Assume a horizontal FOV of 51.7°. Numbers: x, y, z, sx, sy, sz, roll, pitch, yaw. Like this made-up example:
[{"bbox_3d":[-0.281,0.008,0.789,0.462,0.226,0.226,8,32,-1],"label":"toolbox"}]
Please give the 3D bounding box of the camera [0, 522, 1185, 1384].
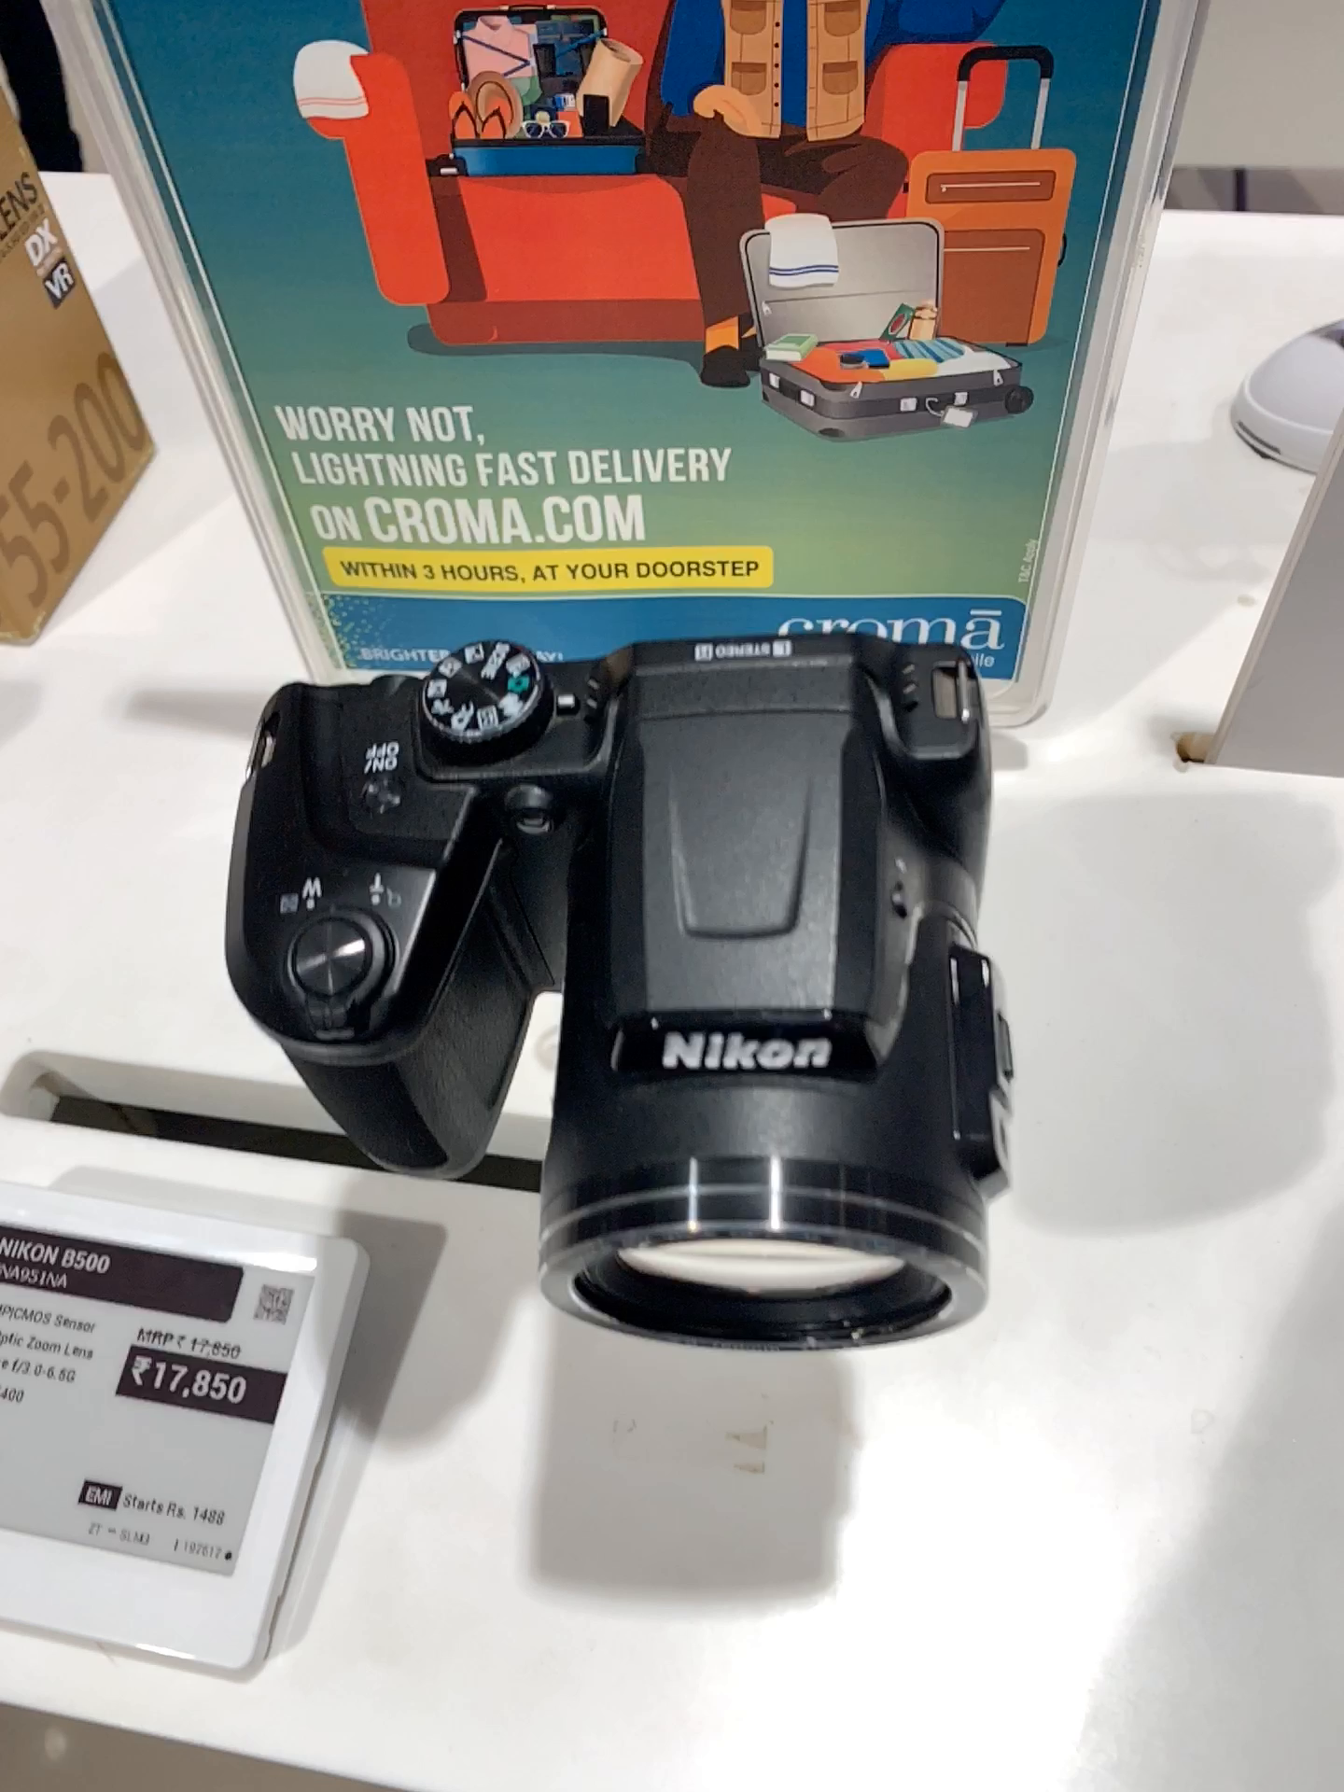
[{"bbox_3d":[-0.007,0.011,0.196,0.120,0.080,0.090,-1,55,4],"label":"camera"}]
